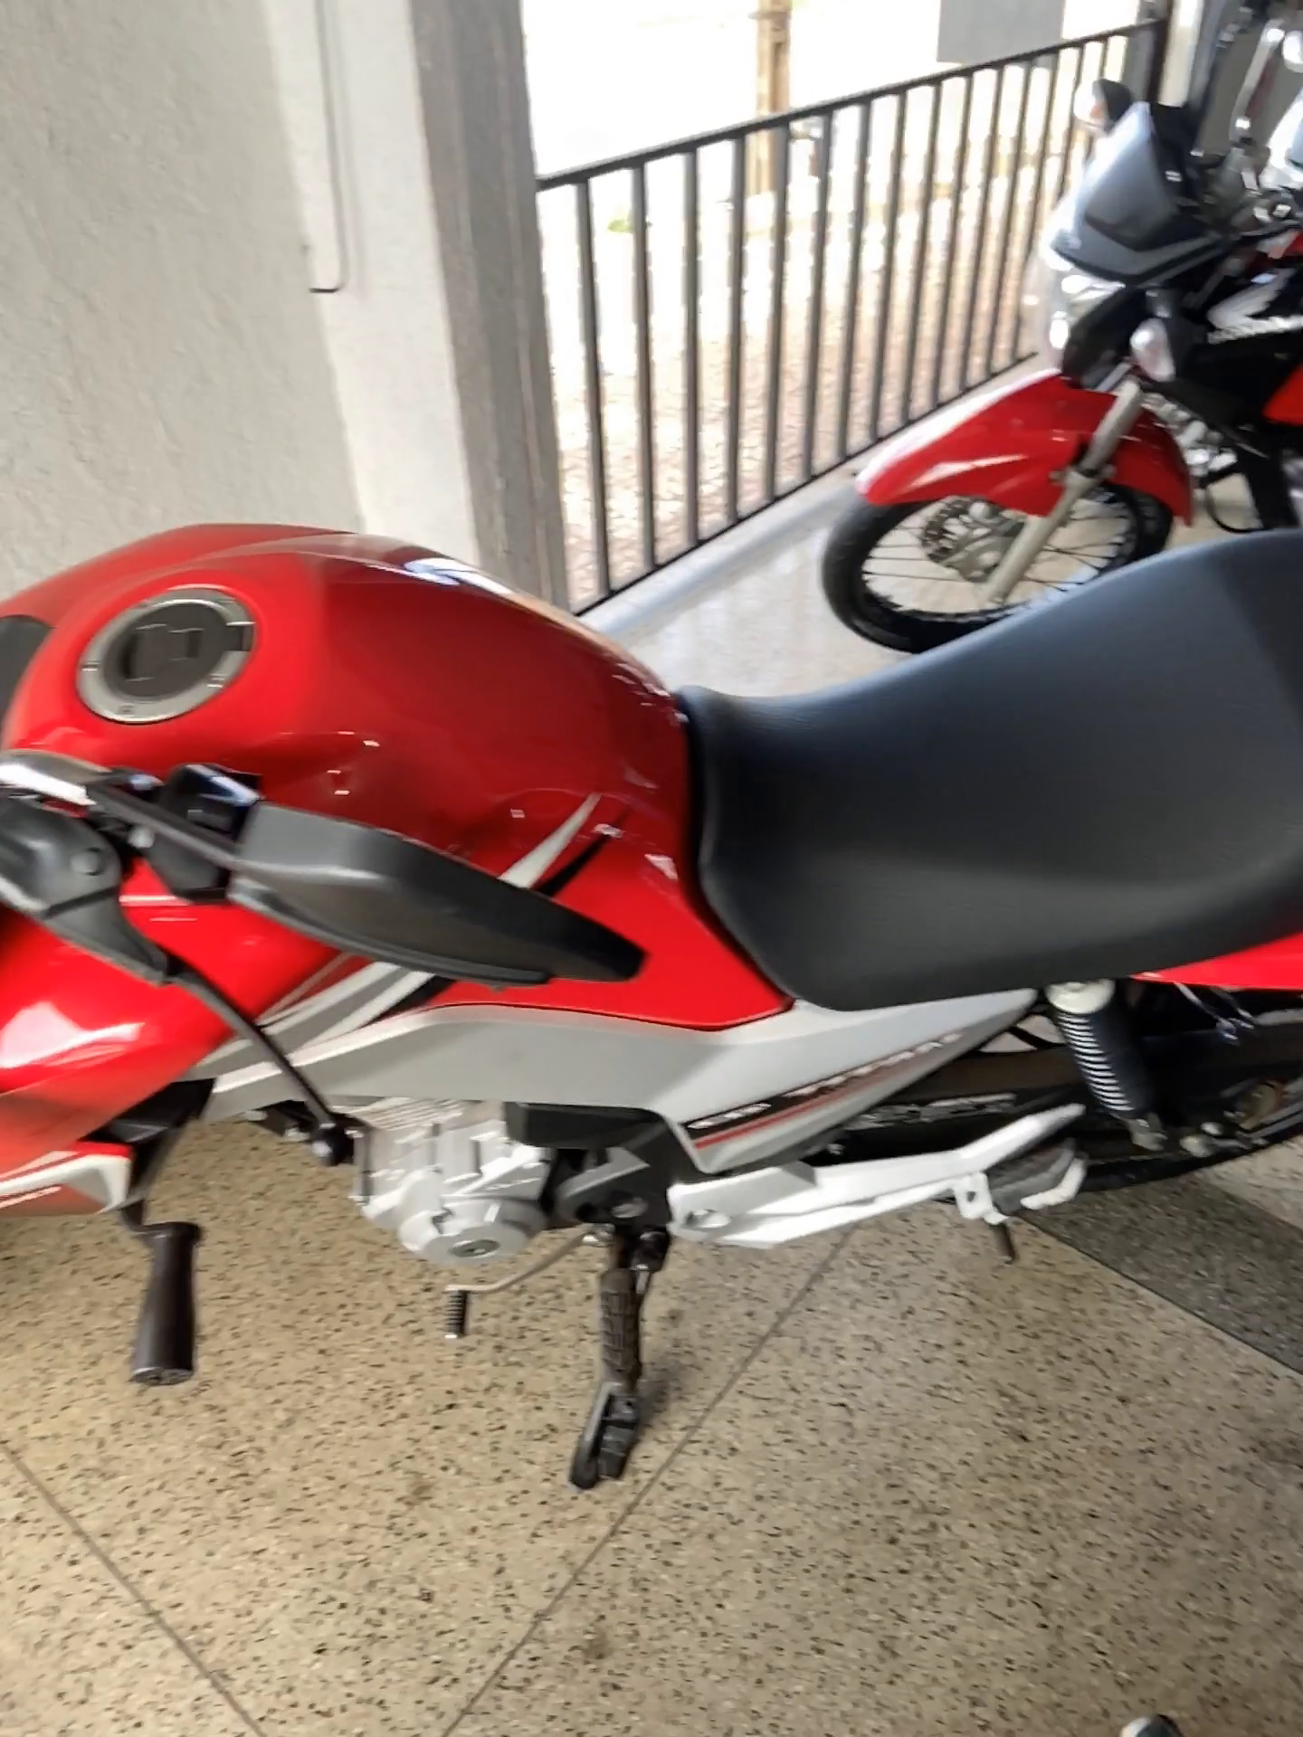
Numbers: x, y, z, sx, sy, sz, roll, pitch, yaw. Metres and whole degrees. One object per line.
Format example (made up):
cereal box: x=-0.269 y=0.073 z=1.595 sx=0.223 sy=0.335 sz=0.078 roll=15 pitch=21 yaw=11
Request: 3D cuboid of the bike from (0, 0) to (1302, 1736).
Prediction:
bike: x=-0.082 y=0.223 z=1.061 sx=1.991 sy=1.421 sz=0.872 roll=-12 pitch=38 yaw=-9
